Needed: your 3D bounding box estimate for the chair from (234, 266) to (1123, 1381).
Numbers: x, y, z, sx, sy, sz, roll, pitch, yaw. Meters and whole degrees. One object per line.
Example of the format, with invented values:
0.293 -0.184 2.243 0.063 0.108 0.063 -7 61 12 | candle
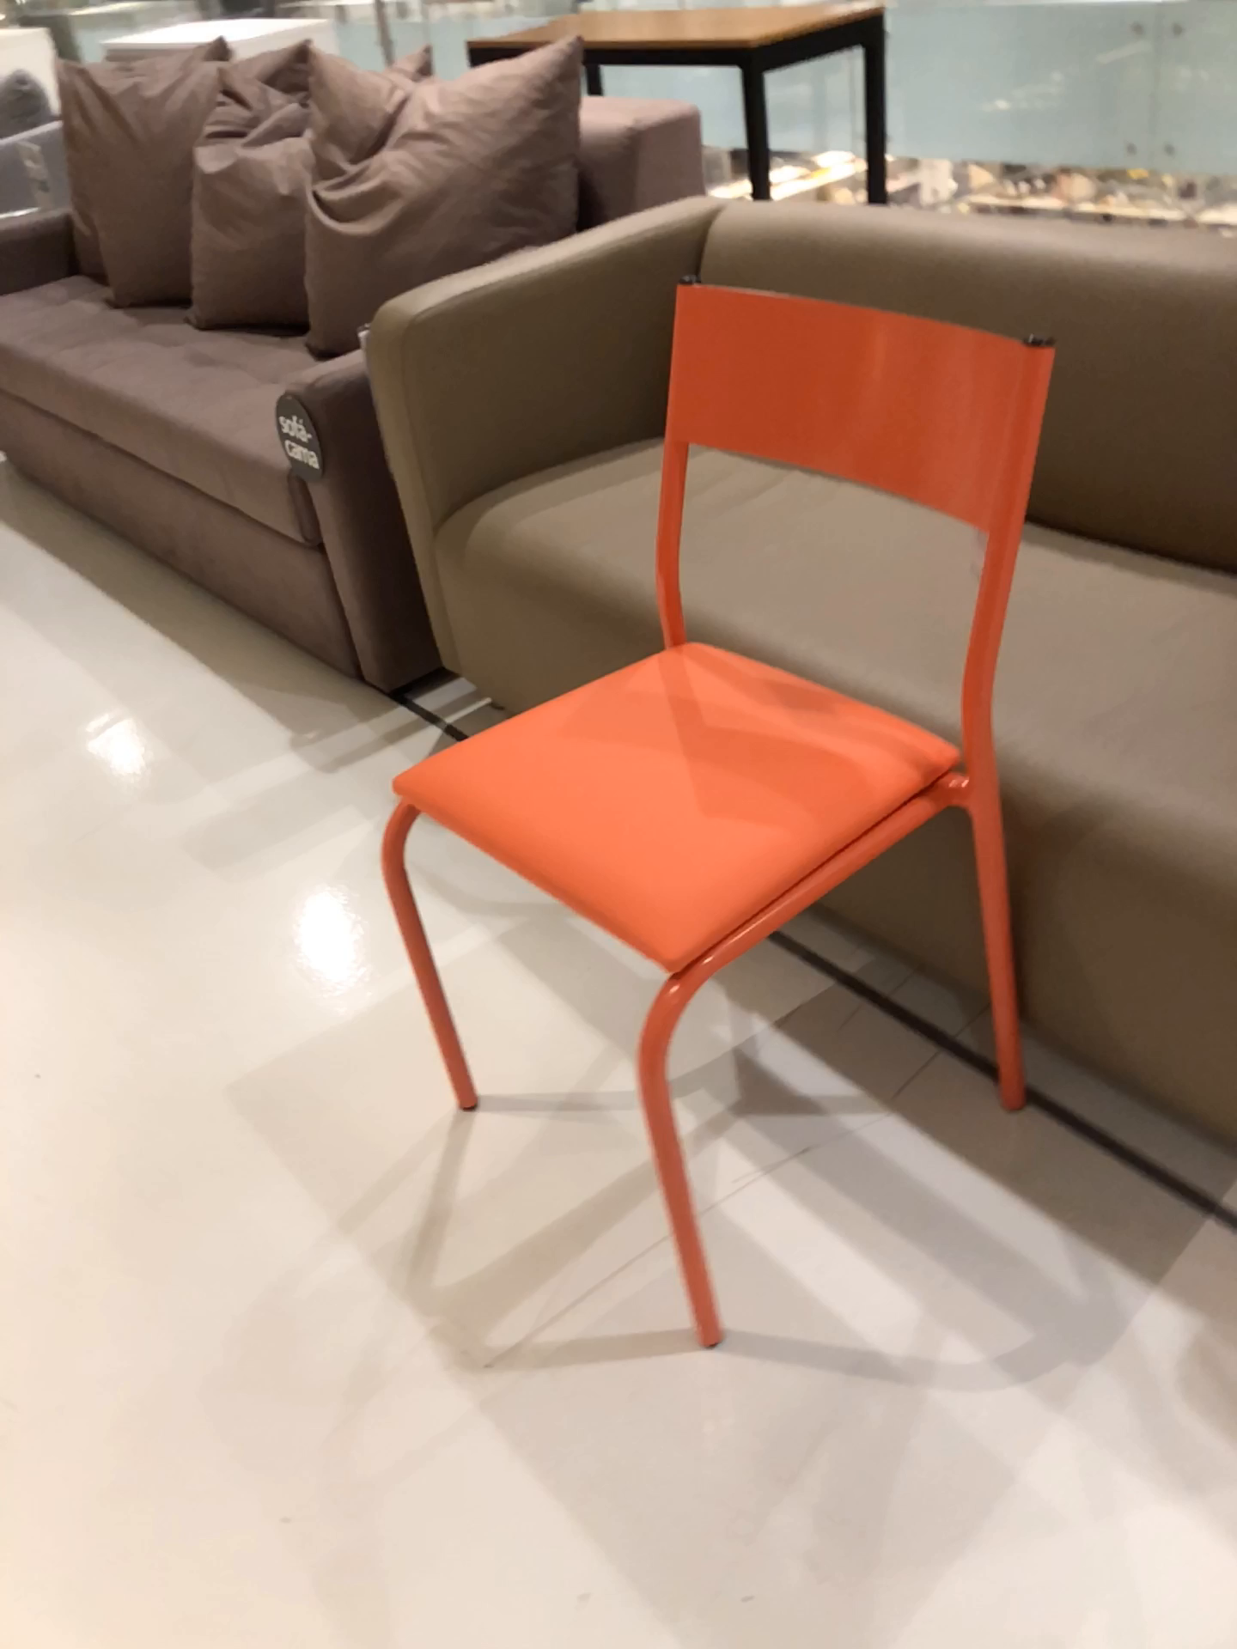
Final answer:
0.079 -0.027 1.281 0.491 0.784 0.503 -29 39 -26 | chair
